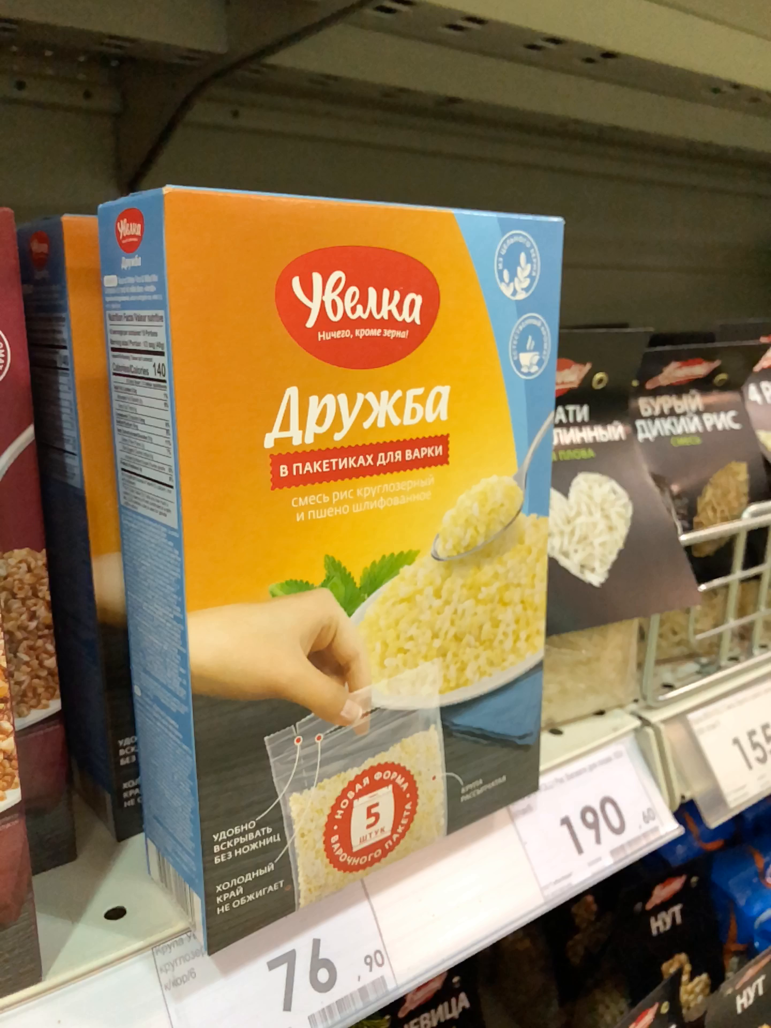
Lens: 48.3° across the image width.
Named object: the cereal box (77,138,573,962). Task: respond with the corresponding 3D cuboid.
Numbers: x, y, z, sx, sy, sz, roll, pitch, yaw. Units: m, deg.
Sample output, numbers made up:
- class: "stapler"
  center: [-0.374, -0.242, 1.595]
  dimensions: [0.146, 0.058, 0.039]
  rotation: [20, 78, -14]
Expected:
- class: "cereal box"
  center: [-0.009, 0.005, 0.246]
  dimensions: [0.130, 0.189, 0.040]
  rotation: [-10, 16, -38]
